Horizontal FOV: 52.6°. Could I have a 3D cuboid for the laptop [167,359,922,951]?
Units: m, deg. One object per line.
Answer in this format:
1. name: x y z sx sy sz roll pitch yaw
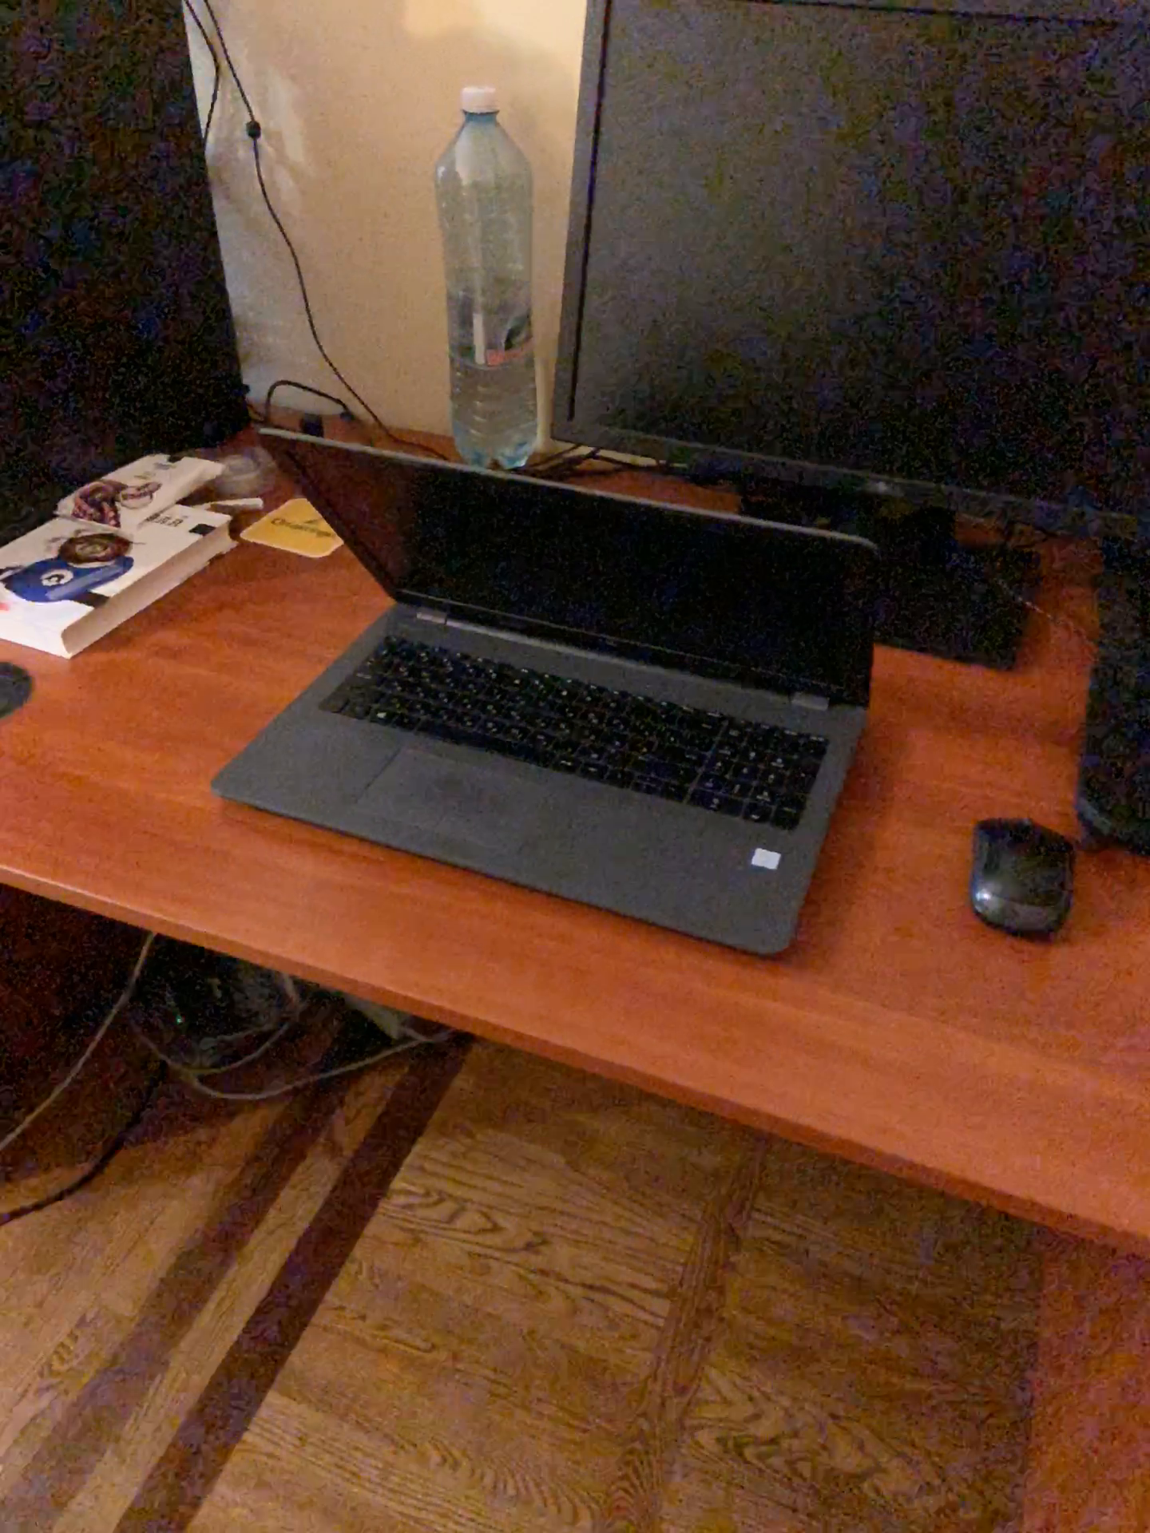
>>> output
1. laptop: -0.008 -0.088 0.701 0.359 0.191 0.233 14 40 17
